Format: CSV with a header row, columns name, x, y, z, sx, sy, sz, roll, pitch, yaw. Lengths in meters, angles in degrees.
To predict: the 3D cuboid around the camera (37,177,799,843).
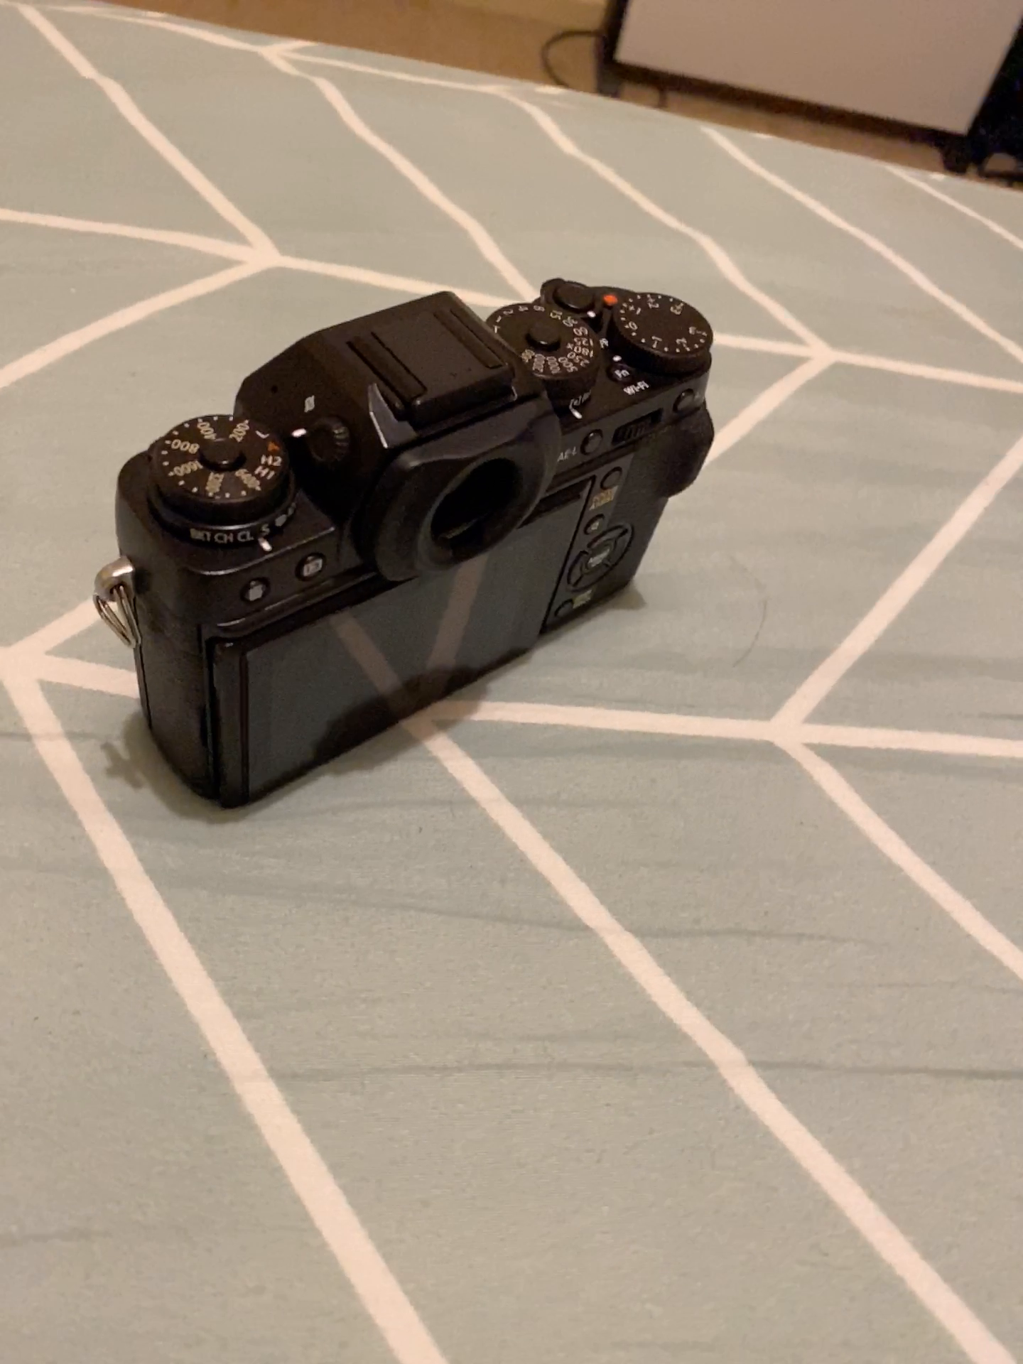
name,x,y,z,sx,sy,sz,roll,pitch,yaw
camera,-0.016,-0.039,0.221,0.130,0.087,0.051,-29,64,-30
